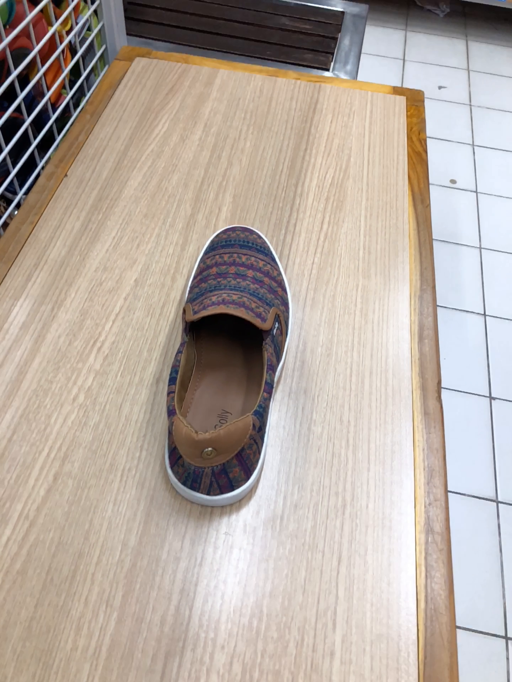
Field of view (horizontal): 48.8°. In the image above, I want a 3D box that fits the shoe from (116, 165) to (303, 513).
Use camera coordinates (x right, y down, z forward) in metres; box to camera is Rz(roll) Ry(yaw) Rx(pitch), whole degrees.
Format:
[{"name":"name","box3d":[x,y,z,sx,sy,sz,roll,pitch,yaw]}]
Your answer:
[{"name":"shoe","box3d":[-0.024,-0.016,0.452,0.100,0.090,0.271,7,53,0]}]
